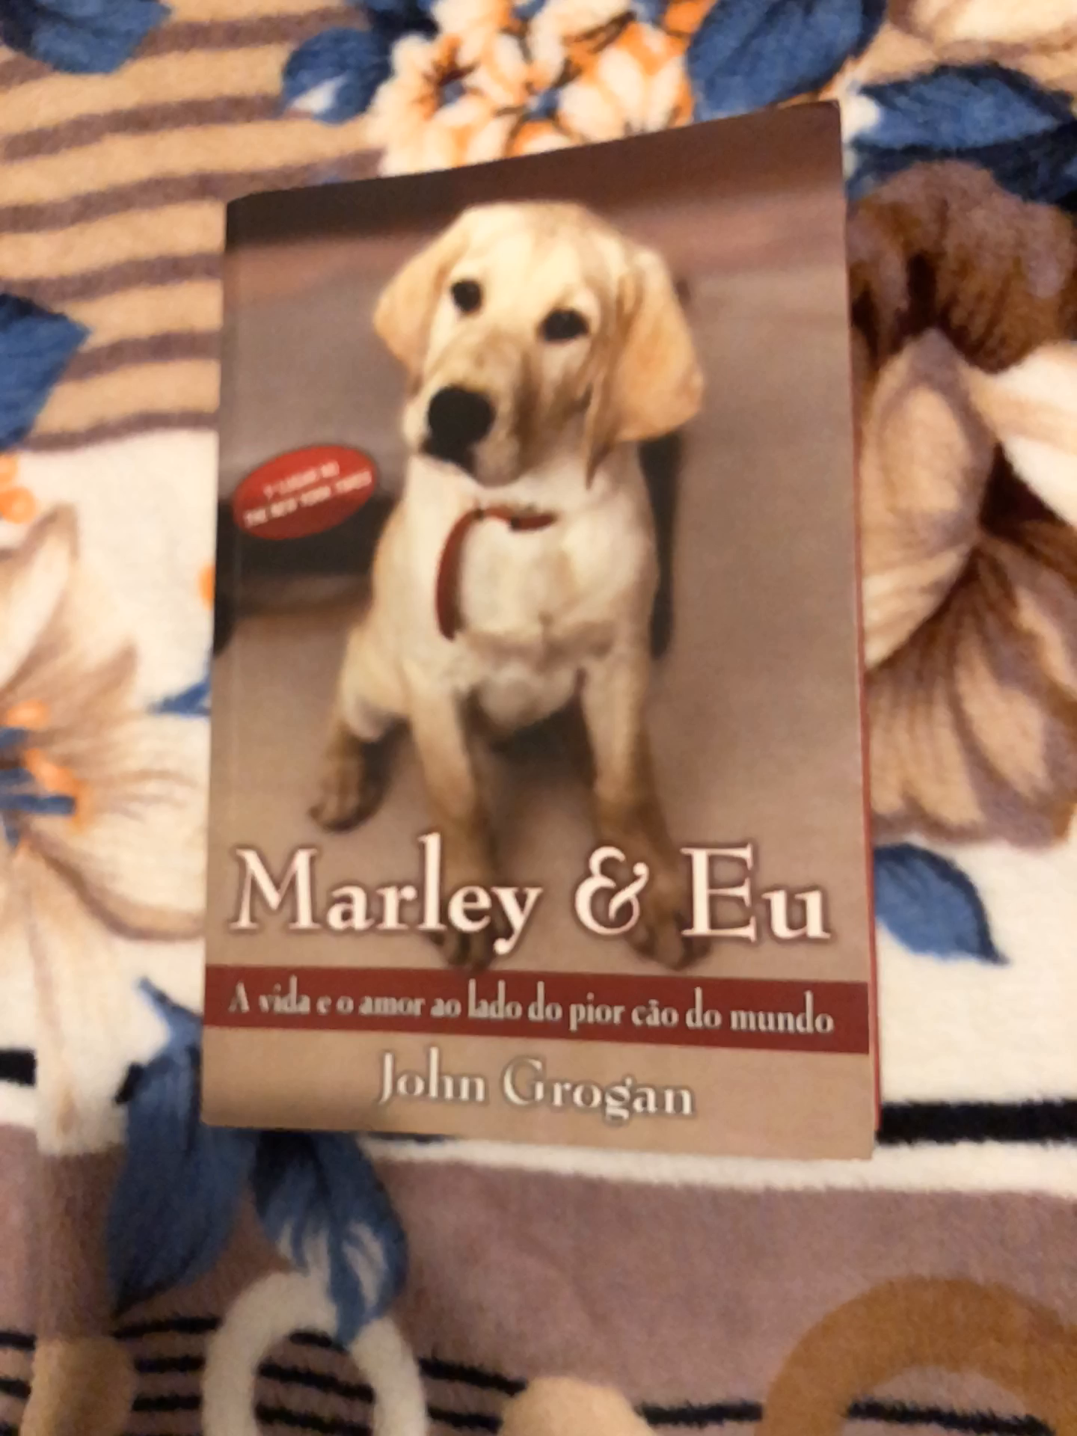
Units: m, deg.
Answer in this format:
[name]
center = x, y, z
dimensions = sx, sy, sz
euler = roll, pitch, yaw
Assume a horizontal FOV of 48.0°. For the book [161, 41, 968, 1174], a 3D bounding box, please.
[book]
center = 0.002, -0.023, 0.281
dimensions = 0.170, 0.040, 0.230
euler = -2, 83, 14
